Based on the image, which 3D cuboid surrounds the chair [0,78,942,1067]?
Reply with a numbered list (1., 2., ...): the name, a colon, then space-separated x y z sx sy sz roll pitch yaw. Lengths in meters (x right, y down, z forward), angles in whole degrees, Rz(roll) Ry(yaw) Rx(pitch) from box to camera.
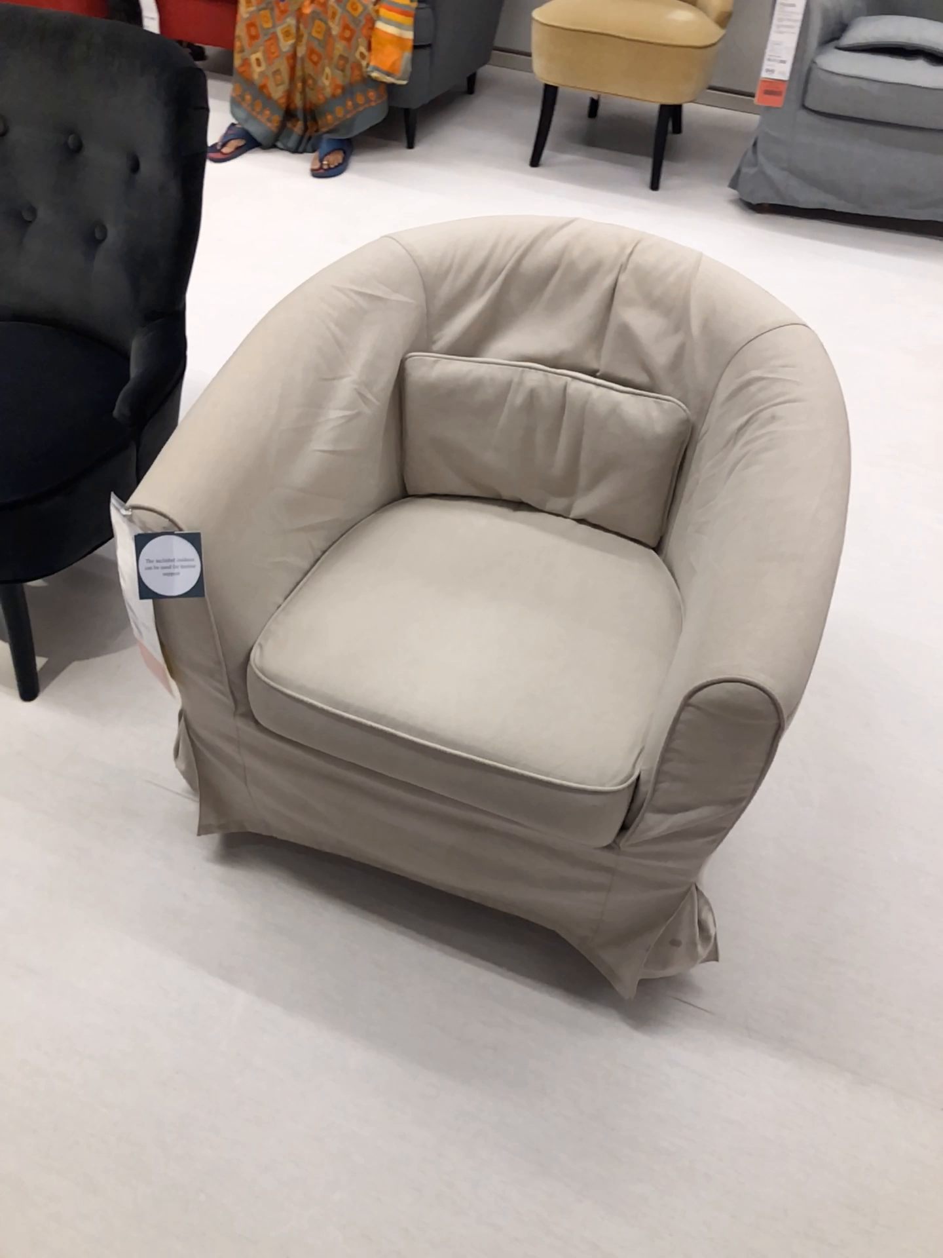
1. chair: 0.019 -0.090 1.315 0.861 0.805 0.704 16 48 13
